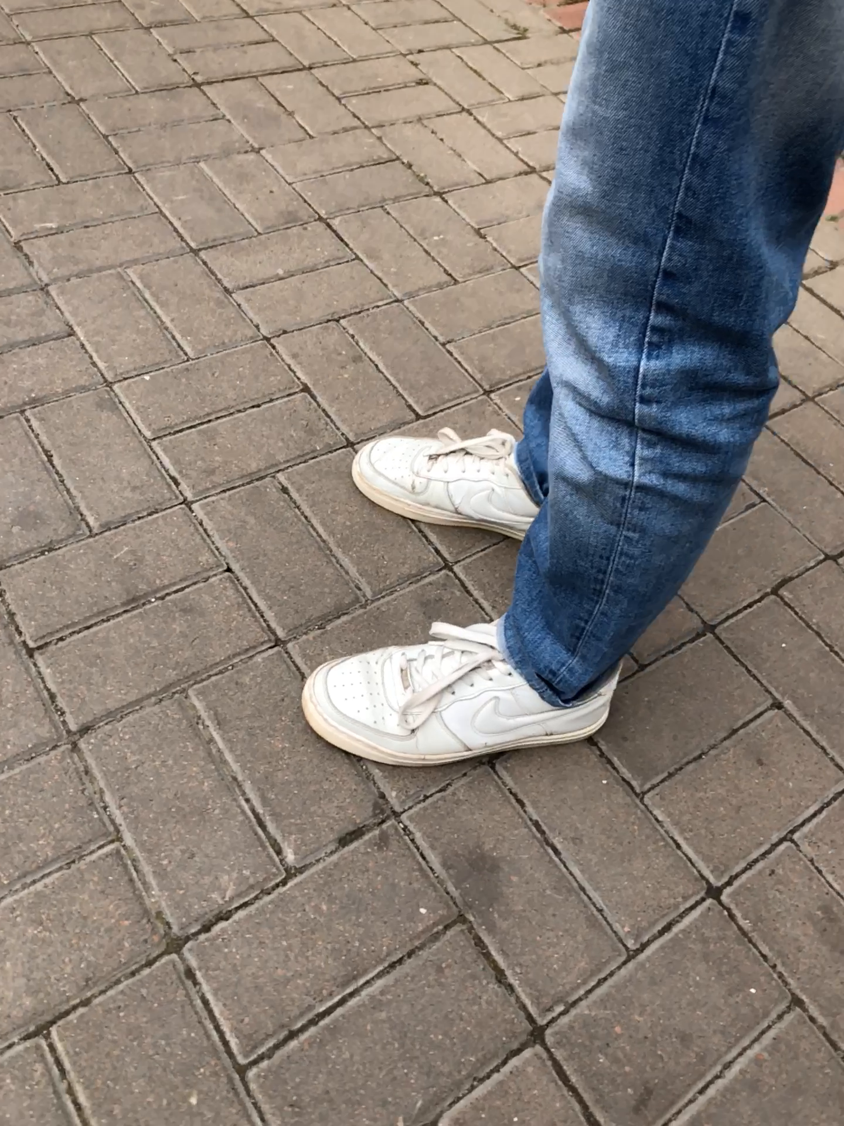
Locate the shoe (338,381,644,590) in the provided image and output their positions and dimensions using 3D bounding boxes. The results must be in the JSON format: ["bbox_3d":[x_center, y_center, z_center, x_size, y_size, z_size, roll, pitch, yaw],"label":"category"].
[{"bbox_3d":[0.073,-0.086,0.997,0.300,0.070,0.121,20,51,6],"label":"shoe"}]

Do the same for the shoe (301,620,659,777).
[{"bbox_3d":[0.045,0.119,0.830,0.300,0.070,0.111,0,51,-10],"label":"shoe"}]
